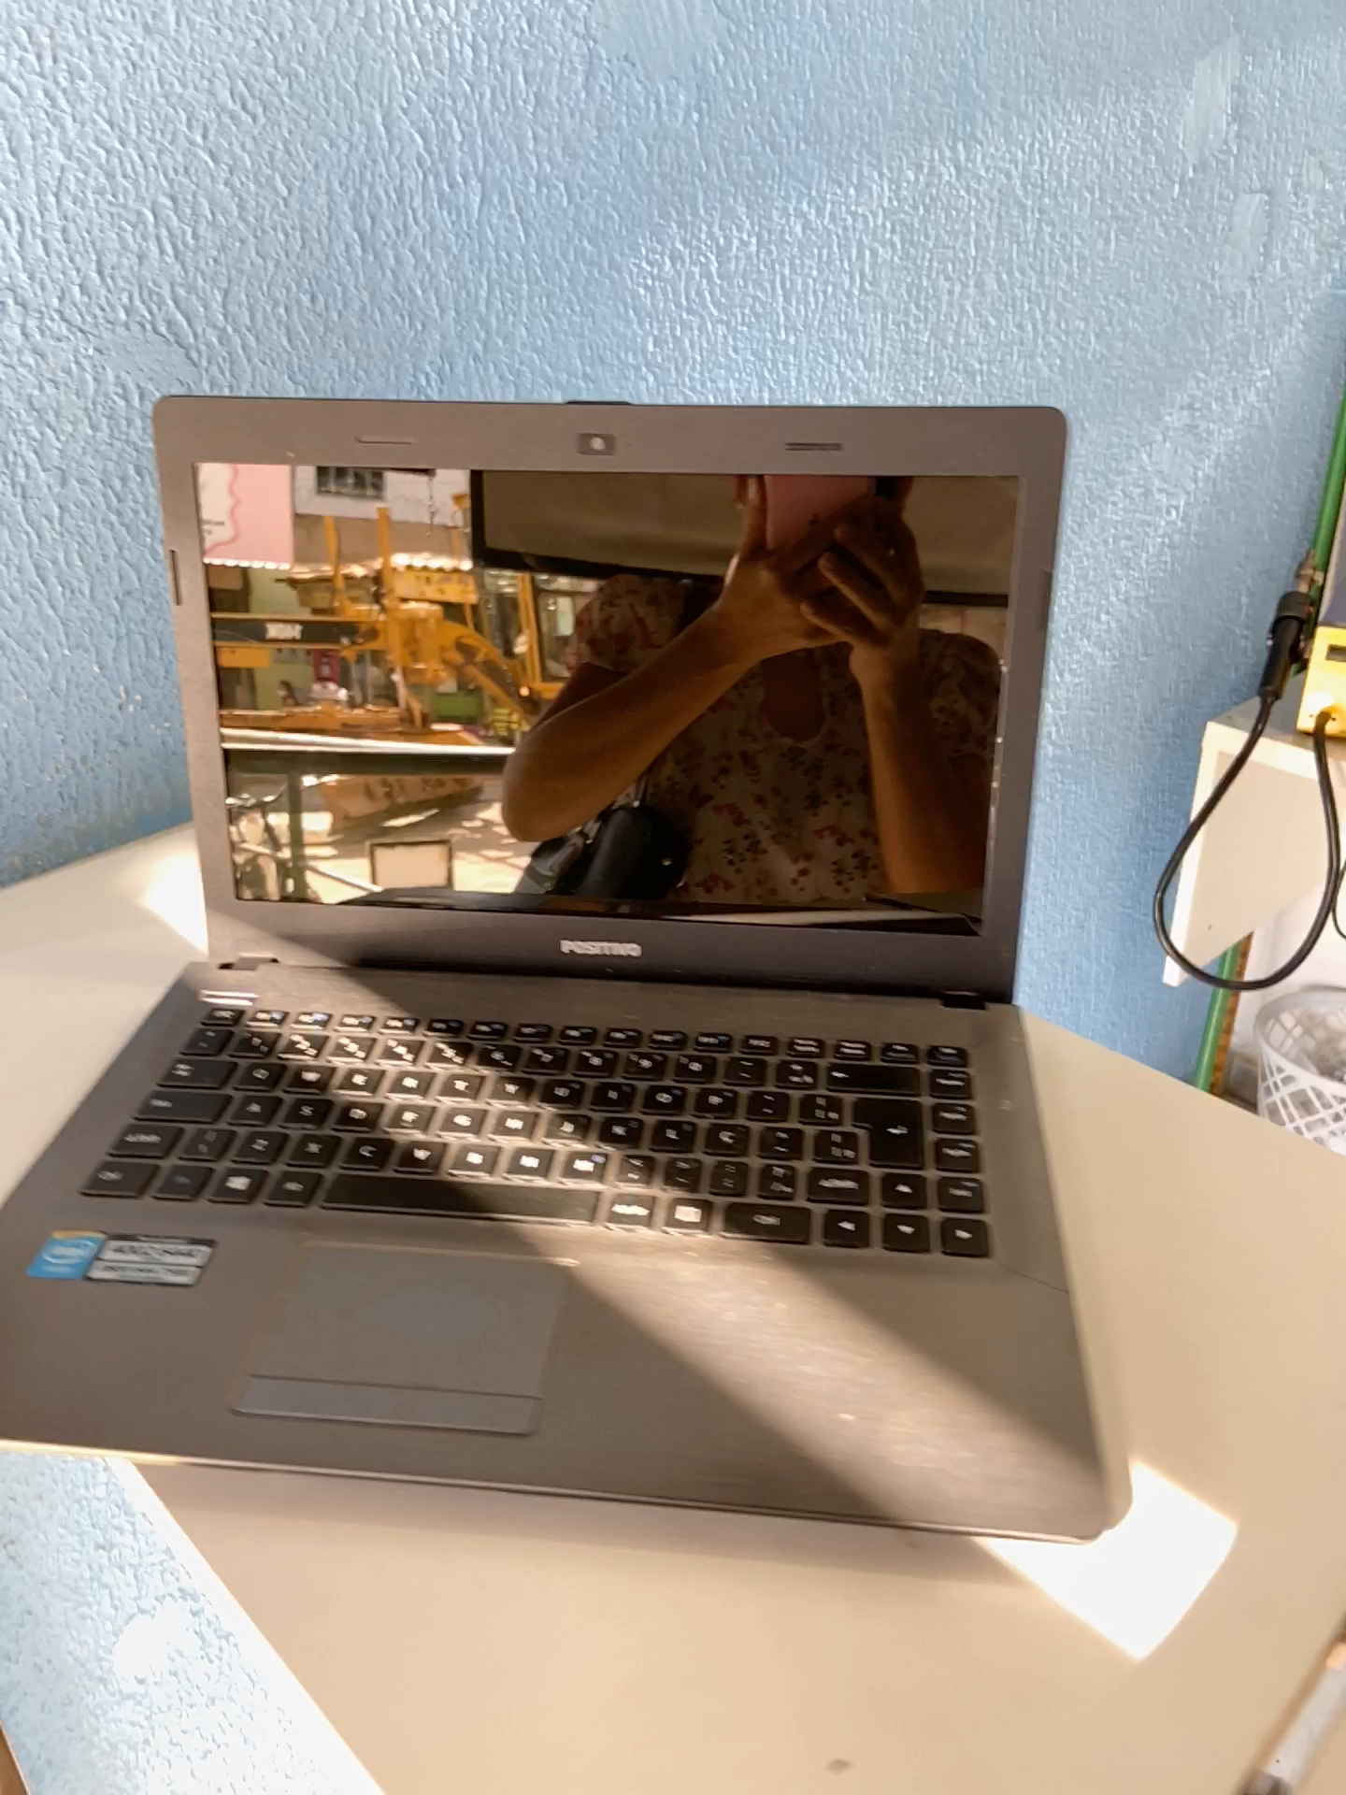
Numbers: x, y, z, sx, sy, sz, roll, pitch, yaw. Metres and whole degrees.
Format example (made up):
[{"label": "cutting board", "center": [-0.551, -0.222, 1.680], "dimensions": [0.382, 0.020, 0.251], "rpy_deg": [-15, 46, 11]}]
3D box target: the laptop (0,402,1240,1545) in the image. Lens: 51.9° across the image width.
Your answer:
[{"label": "laptop", "center": [-0.046, -0.016, 0.431], "dimensions": [0.334, 0.211, 0.284], "rpy_deg": [2, 29, 7]}]
